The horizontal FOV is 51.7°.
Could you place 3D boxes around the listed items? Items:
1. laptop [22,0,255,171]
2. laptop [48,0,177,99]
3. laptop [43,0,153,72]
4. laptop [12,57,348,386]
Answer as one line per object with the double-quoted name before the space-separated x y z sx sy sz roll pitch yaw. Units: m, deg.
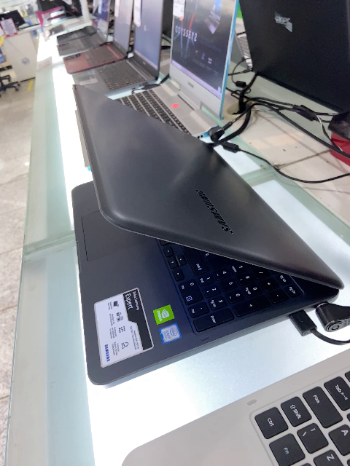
"laptop" -0.079 -0.362 0.733 0.331 0.240 0.370 -19 37 -5
"laptop" -0.191 -0.561 1.049 0.263 0.195 0.301 -19 38 -5
"laptop" -0.357 -0.950 1.657 0.379 0.230 0.298 -20 40 -7
"laptop" -0.029 -0.065 0.420 0.231 0.146 0.367 -20 38 -6
